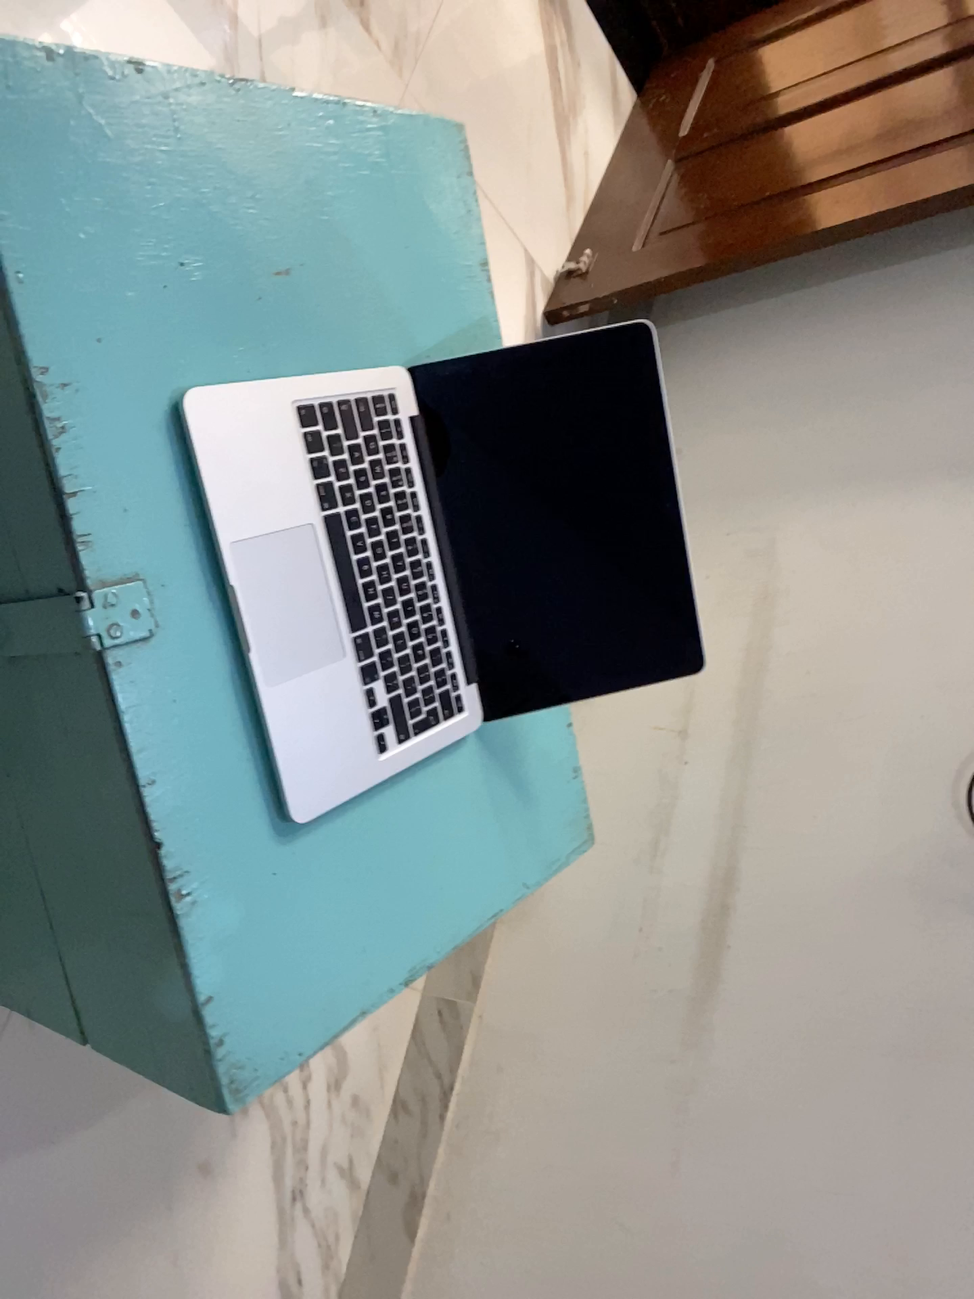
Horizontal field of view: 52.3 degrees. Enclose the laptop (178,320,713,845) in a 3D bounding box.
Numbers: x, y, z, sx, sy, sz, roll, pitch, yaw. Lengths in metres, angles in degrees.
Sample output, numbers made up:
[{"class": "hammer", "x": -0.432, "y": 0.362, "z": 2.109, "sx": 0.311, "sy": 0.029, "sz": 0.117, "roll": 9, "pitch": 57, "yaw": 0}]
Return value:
[{"class": "laptop", "x": 0.001, "y": -0.076, "z": 0.789, "sx": 0.379, "sy": 0.148, "sz": 0.313, "roll": -25, "pitch": 108, "yaw": -48}]
